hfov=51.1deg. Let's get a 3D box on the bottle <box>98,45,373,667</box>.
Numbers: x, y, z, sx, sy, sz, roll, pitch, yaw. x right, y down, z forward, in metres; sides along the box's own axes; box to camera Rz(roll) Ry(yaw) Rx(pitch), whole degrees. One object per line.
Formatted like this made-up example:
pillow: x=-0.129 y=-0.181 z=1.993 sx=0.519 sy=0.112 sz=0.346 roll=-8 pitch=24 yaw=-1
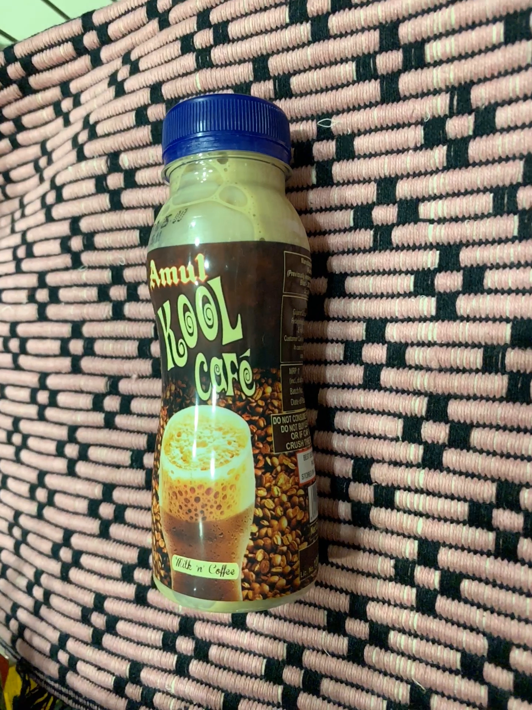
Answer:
bottle: x=-0.006 y=0.000 z=0.161 sx=0.060 sy=0.050 sz=0.140 roll=-2 pitch=85 yaw=27
